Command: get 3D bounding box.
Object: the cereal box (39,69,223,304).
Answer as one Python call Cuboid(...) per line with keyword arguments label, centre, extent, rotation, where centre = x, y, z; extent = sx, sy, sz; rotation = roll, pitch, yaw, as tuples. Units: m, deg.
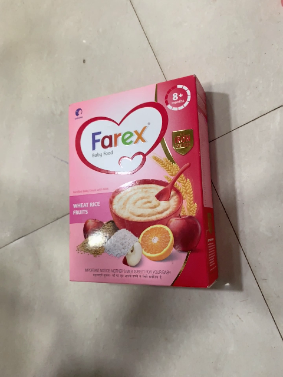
Cuboid(label="cereal box", centre=(-0.017, 0.003, 0.291), extent=(0.171, 0.050, 0.190), rotation=(-5, 82, 23))
